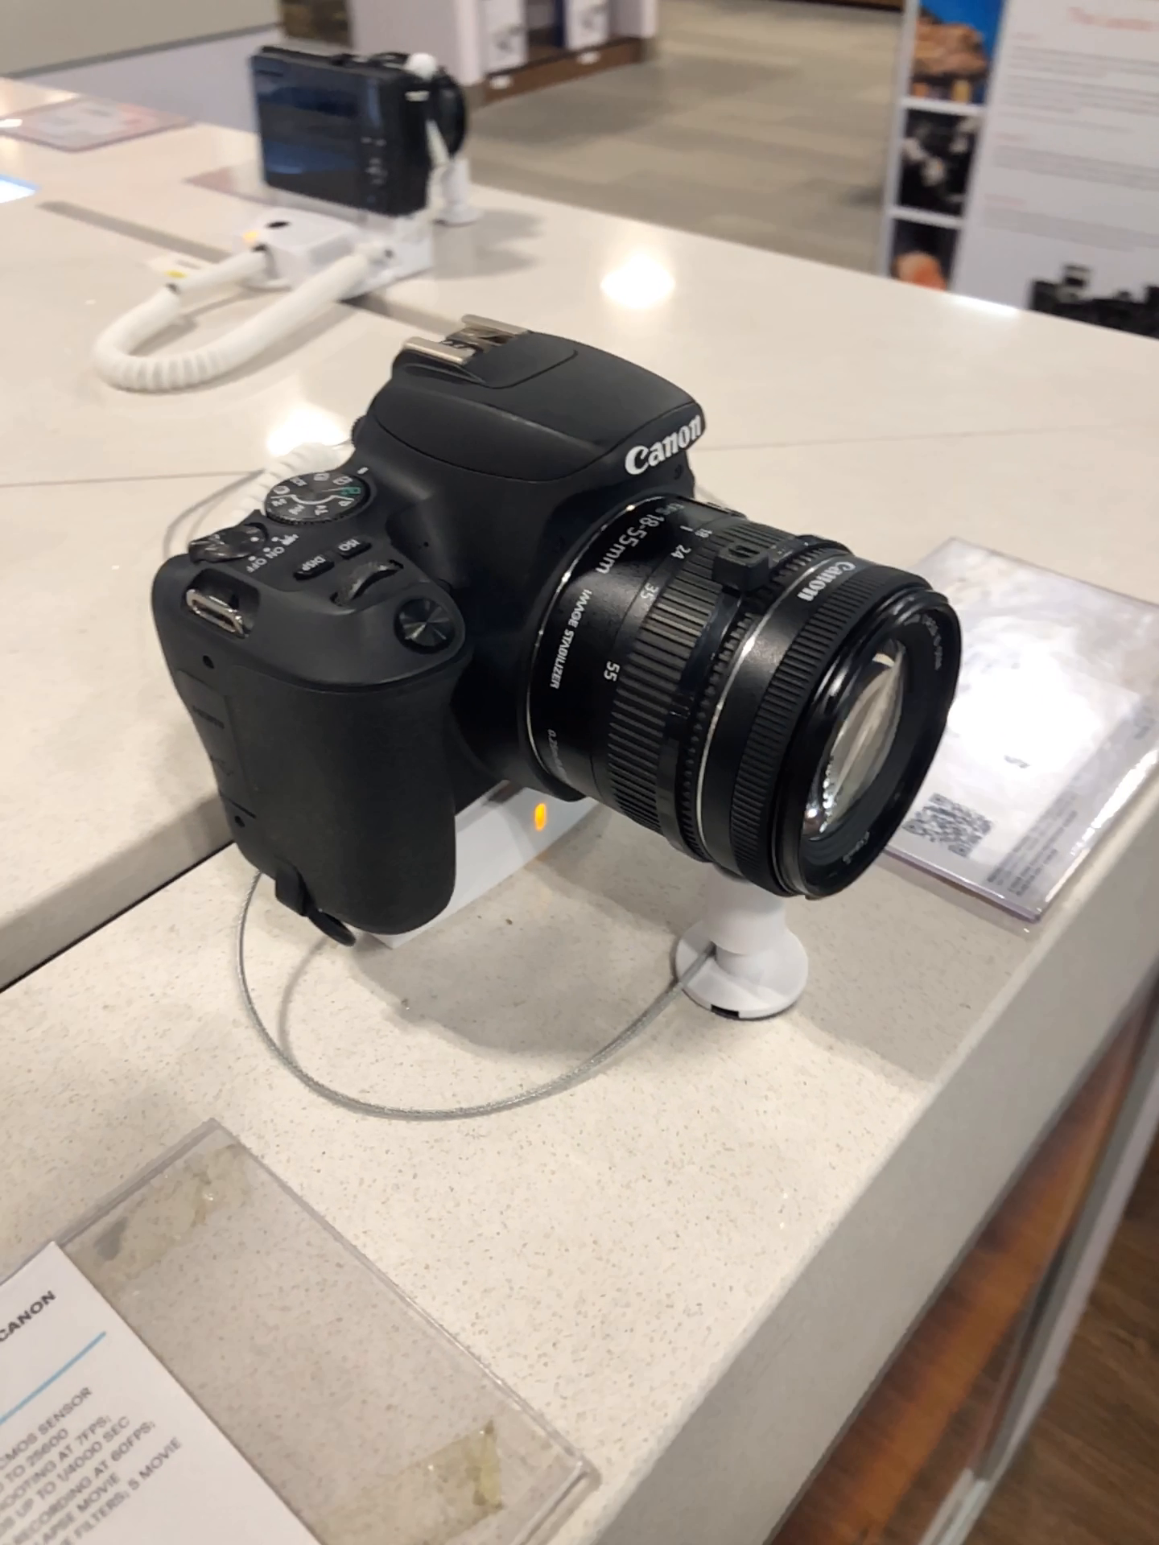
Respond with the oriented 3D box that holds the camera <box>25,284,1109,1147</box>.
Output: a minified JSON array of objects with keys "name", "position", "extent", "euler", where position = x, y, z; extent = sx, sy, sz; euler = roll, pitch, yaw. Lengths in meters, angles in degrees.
[{"name":"camera","position":[-0.001,-0.030,0.257],"extent":[0.151,0.070,0.130],"euler":[27,47,31]}]
